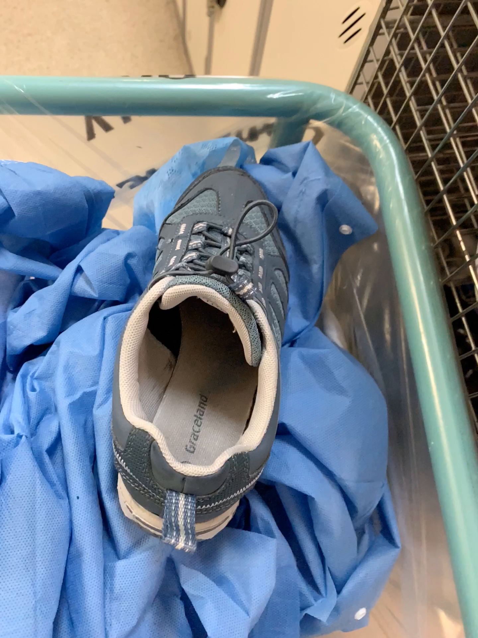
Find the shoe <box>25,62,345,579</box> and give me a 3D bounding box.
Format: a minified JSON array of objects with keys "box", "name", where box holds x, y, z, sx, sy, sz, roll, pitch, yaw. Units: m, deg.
[{"box":[-0.017,-0.002,0.284,0.101,0.109,0.241,12,70,-3],"name":"shoe"}]
